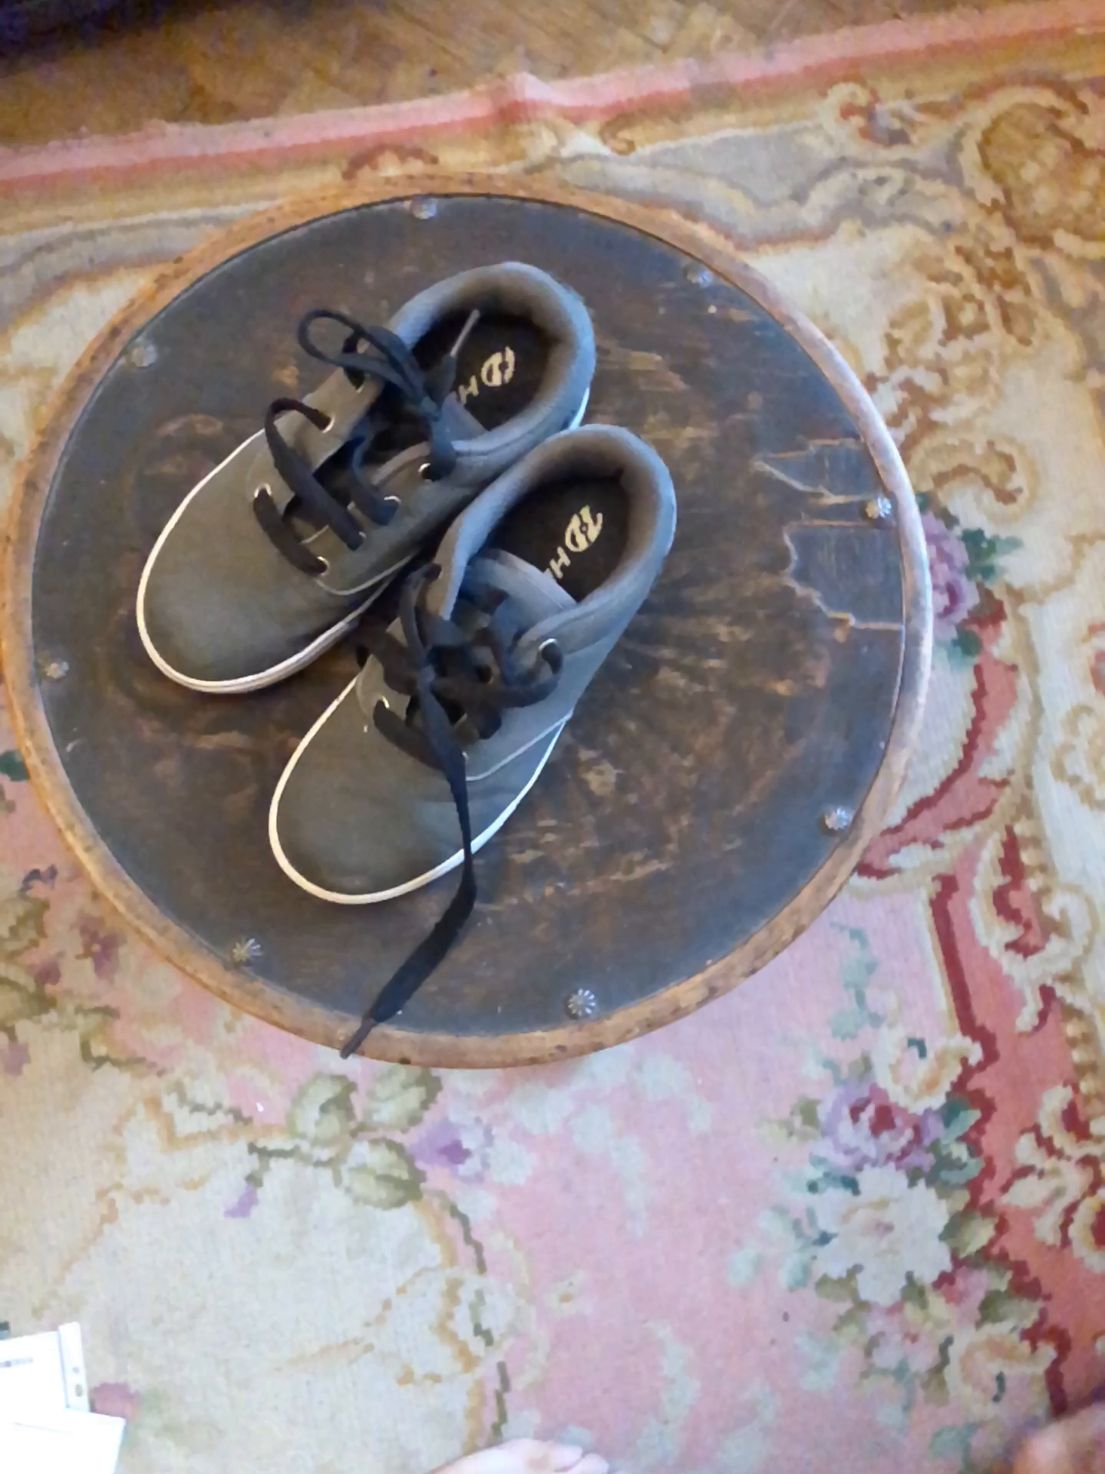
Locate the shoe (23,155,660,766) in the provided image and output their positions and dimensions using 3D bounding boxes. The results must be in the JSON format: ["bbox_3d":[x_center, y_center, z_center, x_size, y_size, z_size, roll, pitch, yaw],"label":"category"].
[{"bbox_3d":[-0.073,-0.098,0.469,0.211,0.100,0.090,-43,88,-8],"label":"shoe"}]

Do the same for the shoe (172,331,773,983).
[{"bbox_3d":[-0.027,-0.025,0.457,0.090,0.100,0.211,38,82,1],"label":"shoe"}]
